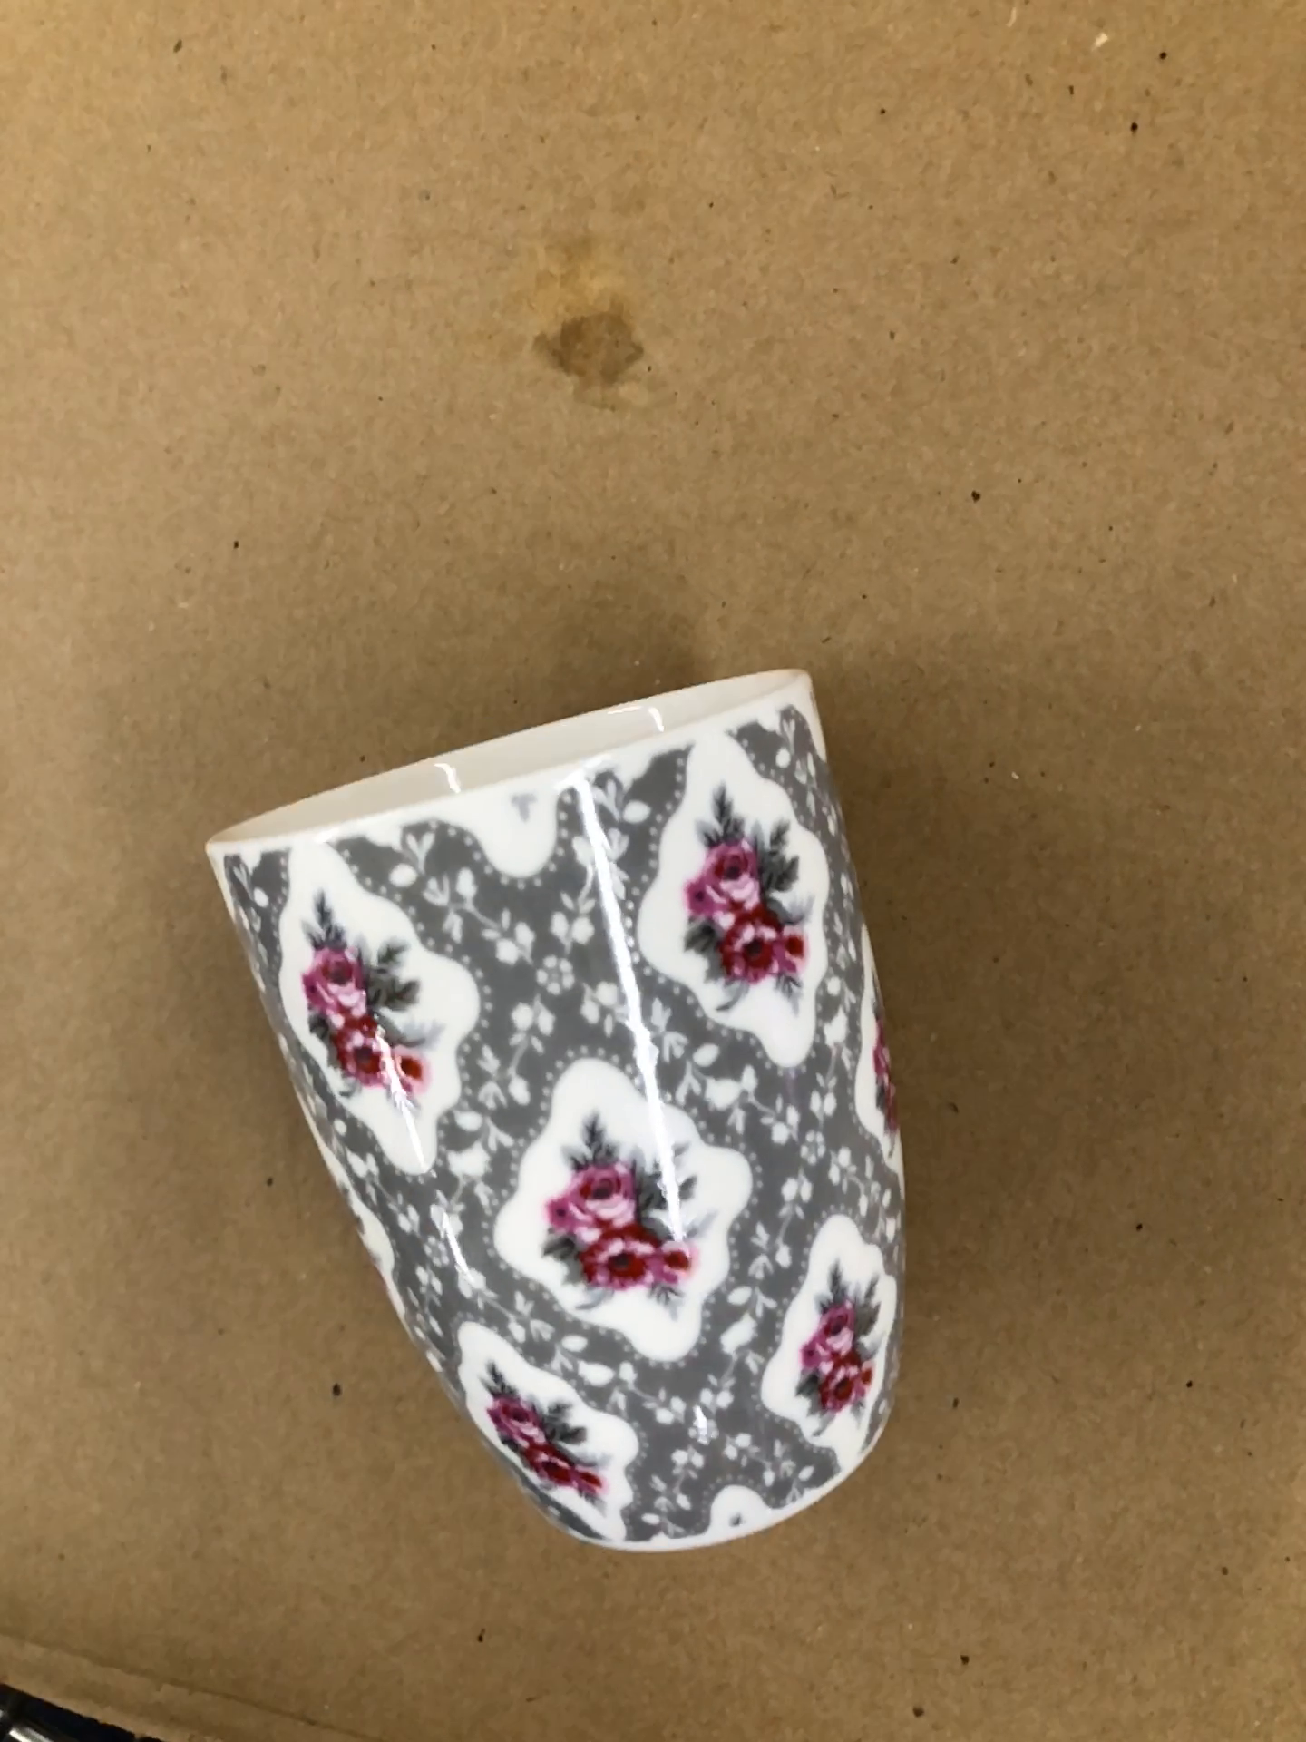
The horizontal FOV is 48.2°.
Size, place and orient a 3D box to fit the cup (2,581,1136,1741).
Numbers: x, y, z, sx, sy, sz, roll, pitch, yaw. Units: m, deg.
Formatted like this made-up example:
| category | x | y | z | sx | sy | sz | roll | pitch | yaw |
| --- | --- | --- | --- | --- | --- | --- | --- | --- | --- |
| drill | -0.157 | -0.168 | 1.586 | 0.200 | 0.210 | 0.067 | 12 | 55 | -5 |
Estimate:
| category | x | y | z | sx | sy | sz | roll | pitch | yaw |
| --- | --- | --- | --- | --- | --- | --- | --- | --- | --- |
| cup | -0.013 | 0.032 | 0.190 | 0.100 | 0.080 | 0.110 | 22 | 122 | 42 |
